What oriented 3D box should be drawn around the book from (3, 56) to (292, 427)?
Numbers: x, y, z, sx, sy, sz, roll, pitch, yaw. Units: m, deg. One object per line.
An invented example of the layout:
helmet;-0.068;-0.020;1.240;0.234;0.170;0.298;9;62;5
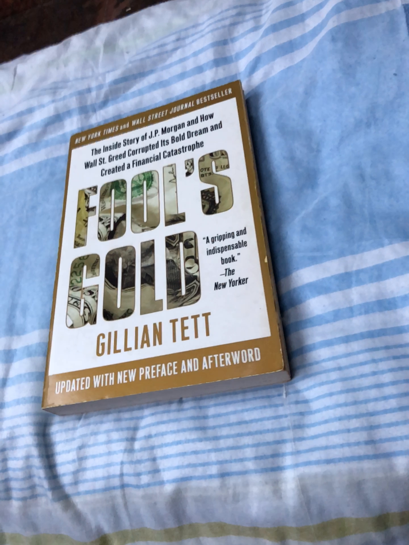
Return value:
book;-0.038;-0.030;0.302;0.150;0.040;0.230;-13;58;16
